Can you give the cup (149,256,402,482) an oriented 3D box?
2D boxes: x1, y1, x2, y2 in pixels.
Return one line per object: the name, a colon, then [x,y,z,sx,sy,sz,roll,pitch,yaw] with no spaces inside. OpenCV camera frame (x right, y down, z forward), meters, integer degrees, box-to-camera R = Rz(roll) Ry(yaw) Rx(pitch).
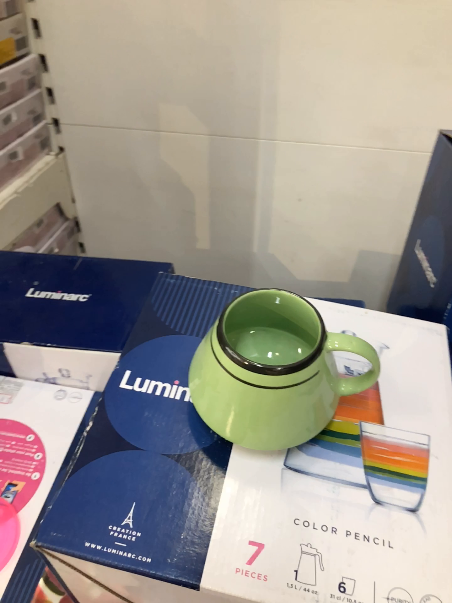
cup: [0.037,0.038,0.338,0.140,0.070,0.111,9,40,11]
